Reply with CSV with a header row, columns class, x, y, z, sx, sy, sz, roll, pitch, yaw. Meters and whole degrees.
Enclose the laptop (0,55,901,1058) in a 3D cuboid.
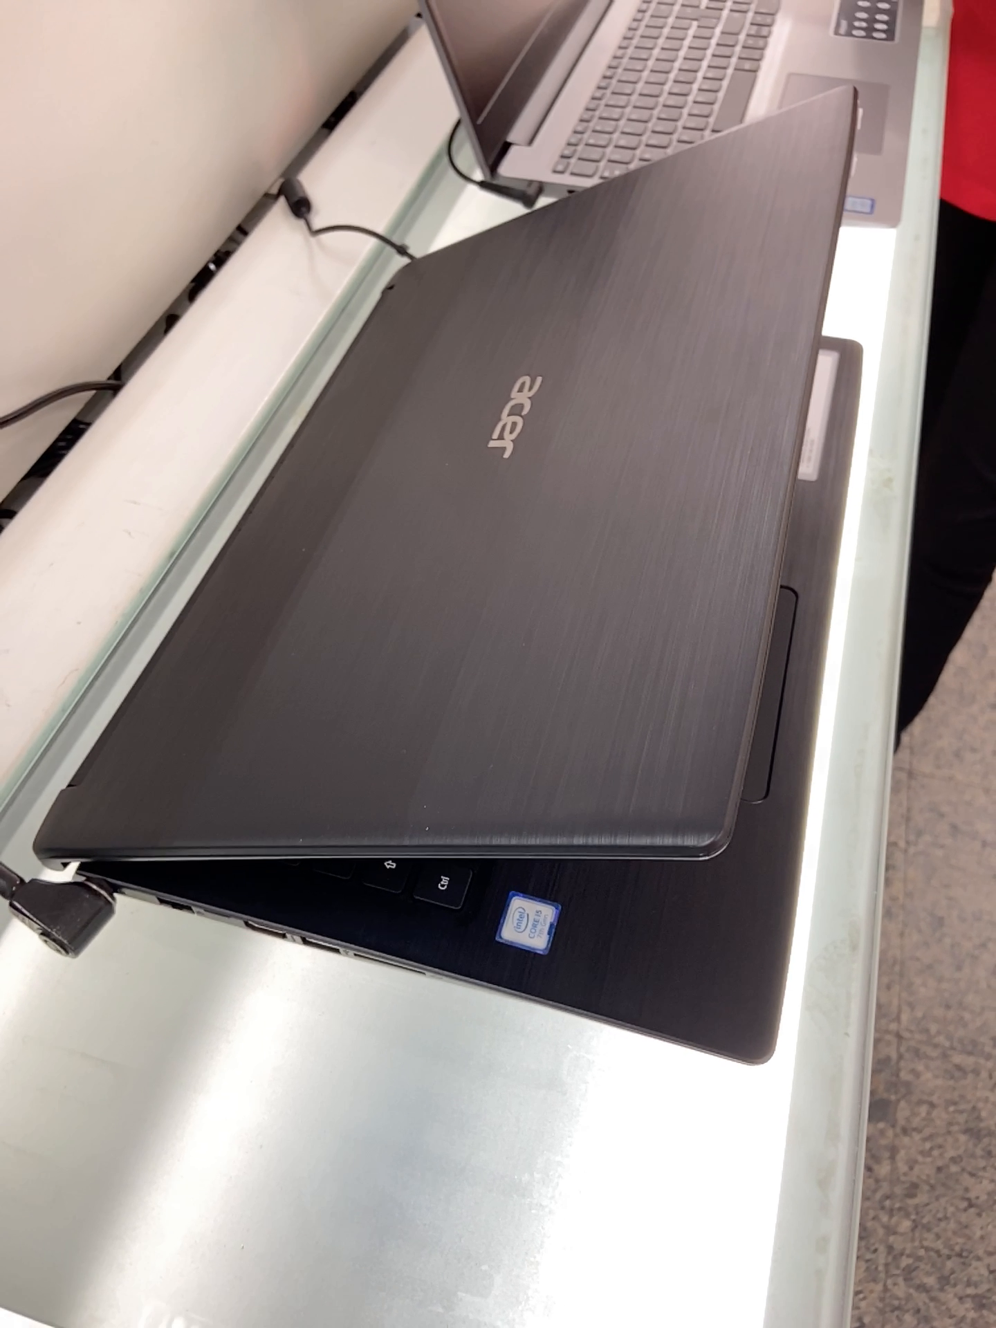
class,x,y,z,sx,sy,sz,roll,pitch,yaw
laptop,0.012,-0.087,0.403,0.236,0.118,0.382,12,53,11
